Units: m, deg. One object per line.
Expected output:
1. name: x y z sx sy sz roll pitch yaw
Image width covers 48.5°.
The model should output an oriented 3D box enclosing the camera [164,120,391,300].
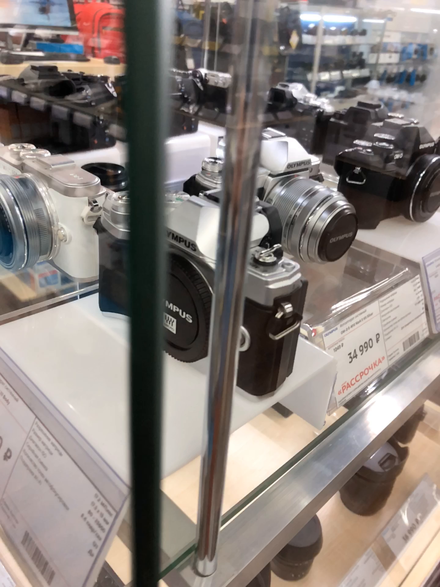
1. camera: 0.043 -0.074 0.372 0.101 0.084 0.137 27 36 34

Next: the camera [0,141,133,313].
1. camera: -0.125 -0.053 0.335 0.068 0.068 0.125 -22 39 -39

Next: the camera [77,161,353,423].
1. camera: -0.009 -0.011 0.250 0.064 0.077 0.122 -23 39 -40
